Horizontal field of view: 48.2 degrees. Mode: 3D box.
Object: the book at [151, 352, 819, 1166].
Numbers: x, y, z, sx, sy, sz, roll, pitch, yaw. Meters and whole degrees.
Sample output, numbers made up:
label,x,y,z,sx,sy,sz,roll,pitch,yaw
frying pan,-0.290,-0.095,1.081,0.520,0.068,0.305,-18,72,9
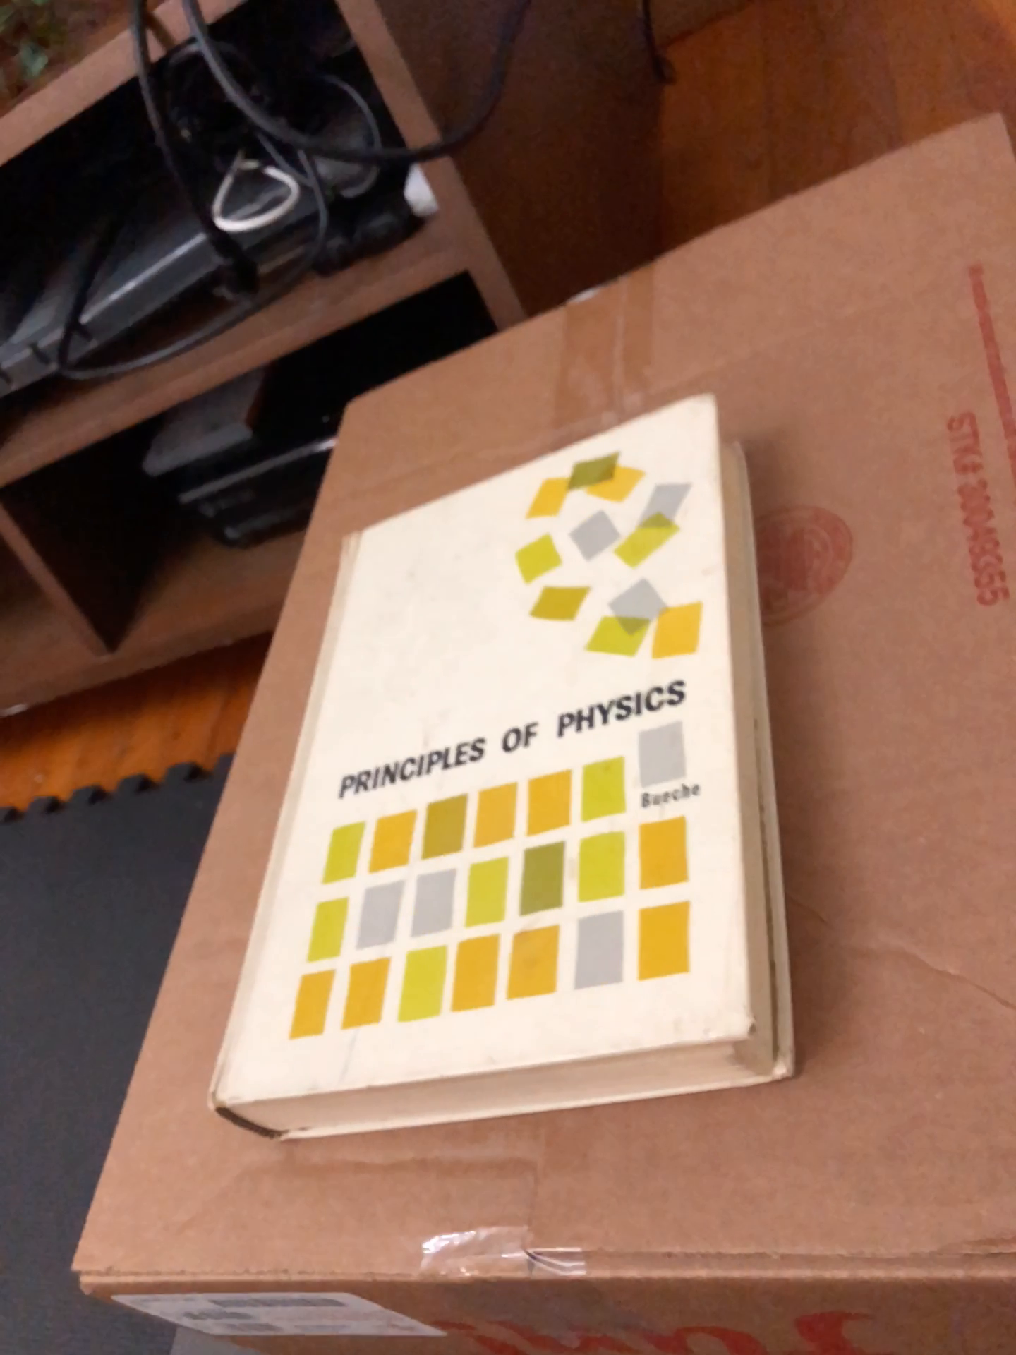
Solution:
label,x,y,z,sx,sy,sz,roll,pitch,yaw
book,-0.003,0.018,0.373,0.180,0.040,0.251,-17,45,27
